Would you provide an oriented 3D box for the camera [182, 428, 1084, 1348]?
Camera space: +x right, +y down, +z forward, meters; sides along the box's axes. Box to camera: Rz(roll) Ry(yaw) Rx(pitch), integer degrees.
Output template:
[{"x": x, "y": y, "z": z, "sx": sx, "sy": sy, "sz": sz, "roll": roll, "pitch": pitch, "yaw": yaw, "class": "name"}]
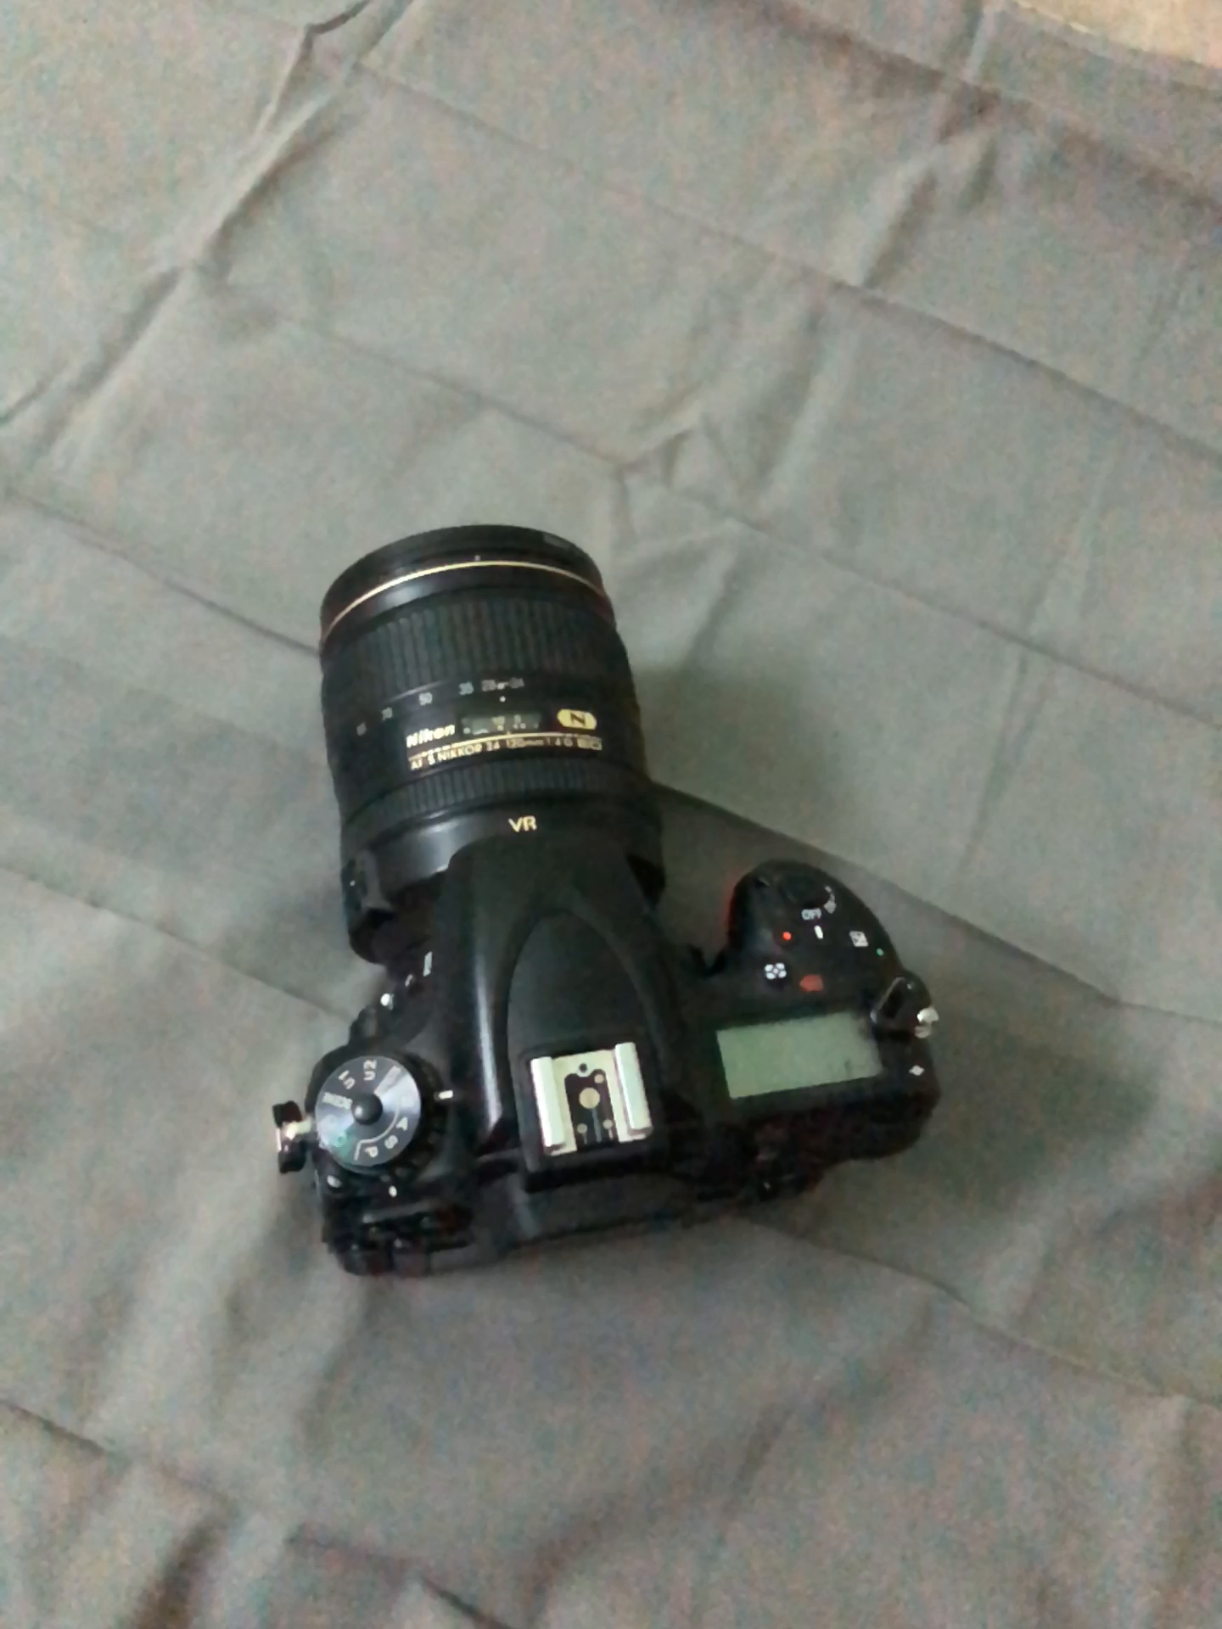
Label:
[{"x": -0.010, "y": 0.023, "z": 0.324, "sx": 0.146, "sy": 0.135, "sz": 0.164, "roll": -8, "pitch": 68, "yaw": -12, "class": "camera"}]
